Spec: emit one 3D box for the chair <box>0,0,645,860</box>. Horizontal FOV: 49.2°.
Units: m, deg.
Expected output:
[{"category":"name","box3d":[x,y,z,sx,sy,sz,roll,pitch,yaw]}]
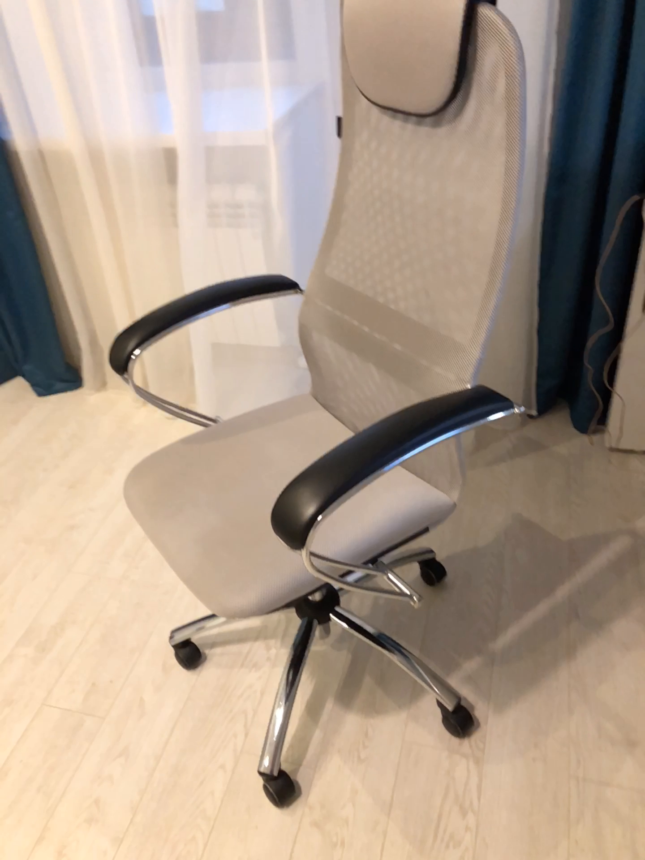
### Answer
[{"category":"chair","box3d":[0.002,0.004,1.222,0.682,1.290,0.693,-28,41,-26]}]
